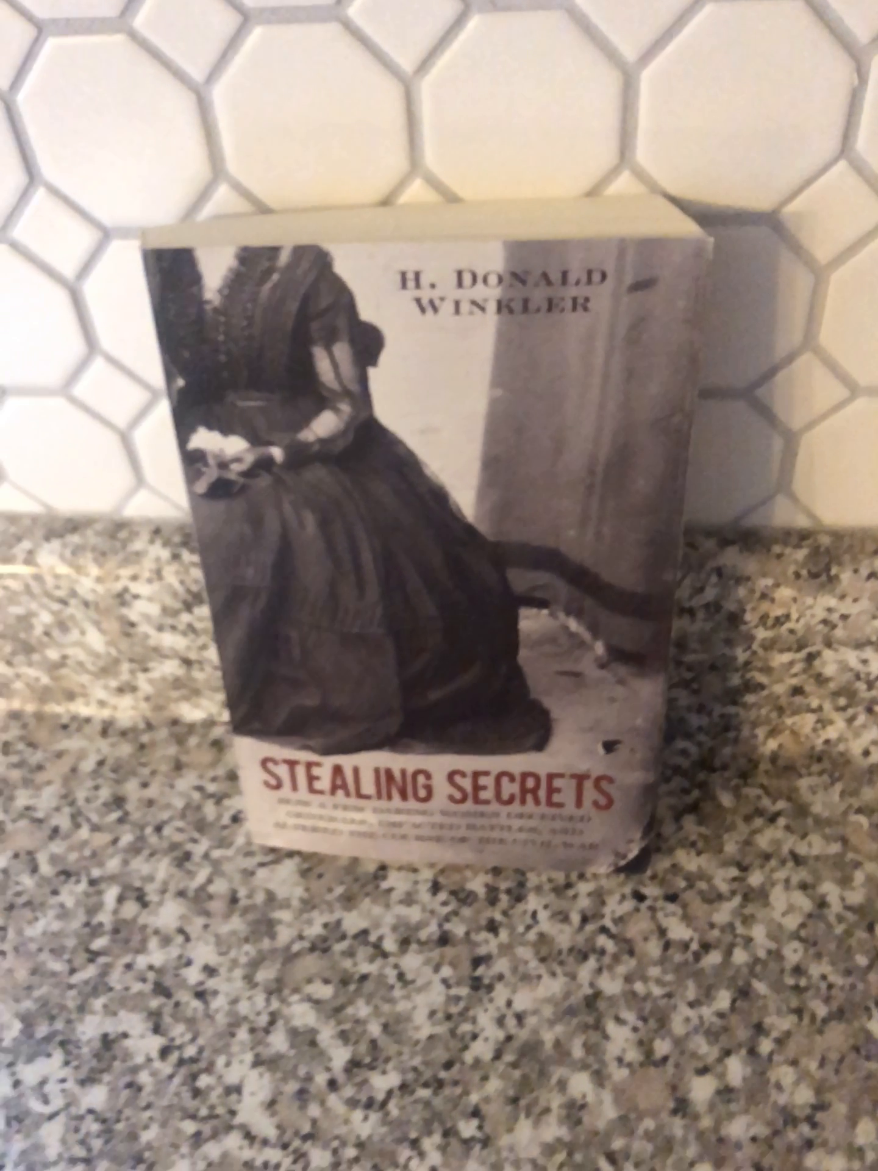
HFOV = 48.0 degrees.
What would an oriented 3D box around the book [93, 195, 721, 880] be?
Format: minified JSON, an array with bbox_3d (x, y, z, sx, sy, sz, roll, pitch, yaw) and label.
[{"bbox_3d":[-0.002,-0.003,0.325,0.161,0.225,0.041,1,32,9],"label":"book"}]
